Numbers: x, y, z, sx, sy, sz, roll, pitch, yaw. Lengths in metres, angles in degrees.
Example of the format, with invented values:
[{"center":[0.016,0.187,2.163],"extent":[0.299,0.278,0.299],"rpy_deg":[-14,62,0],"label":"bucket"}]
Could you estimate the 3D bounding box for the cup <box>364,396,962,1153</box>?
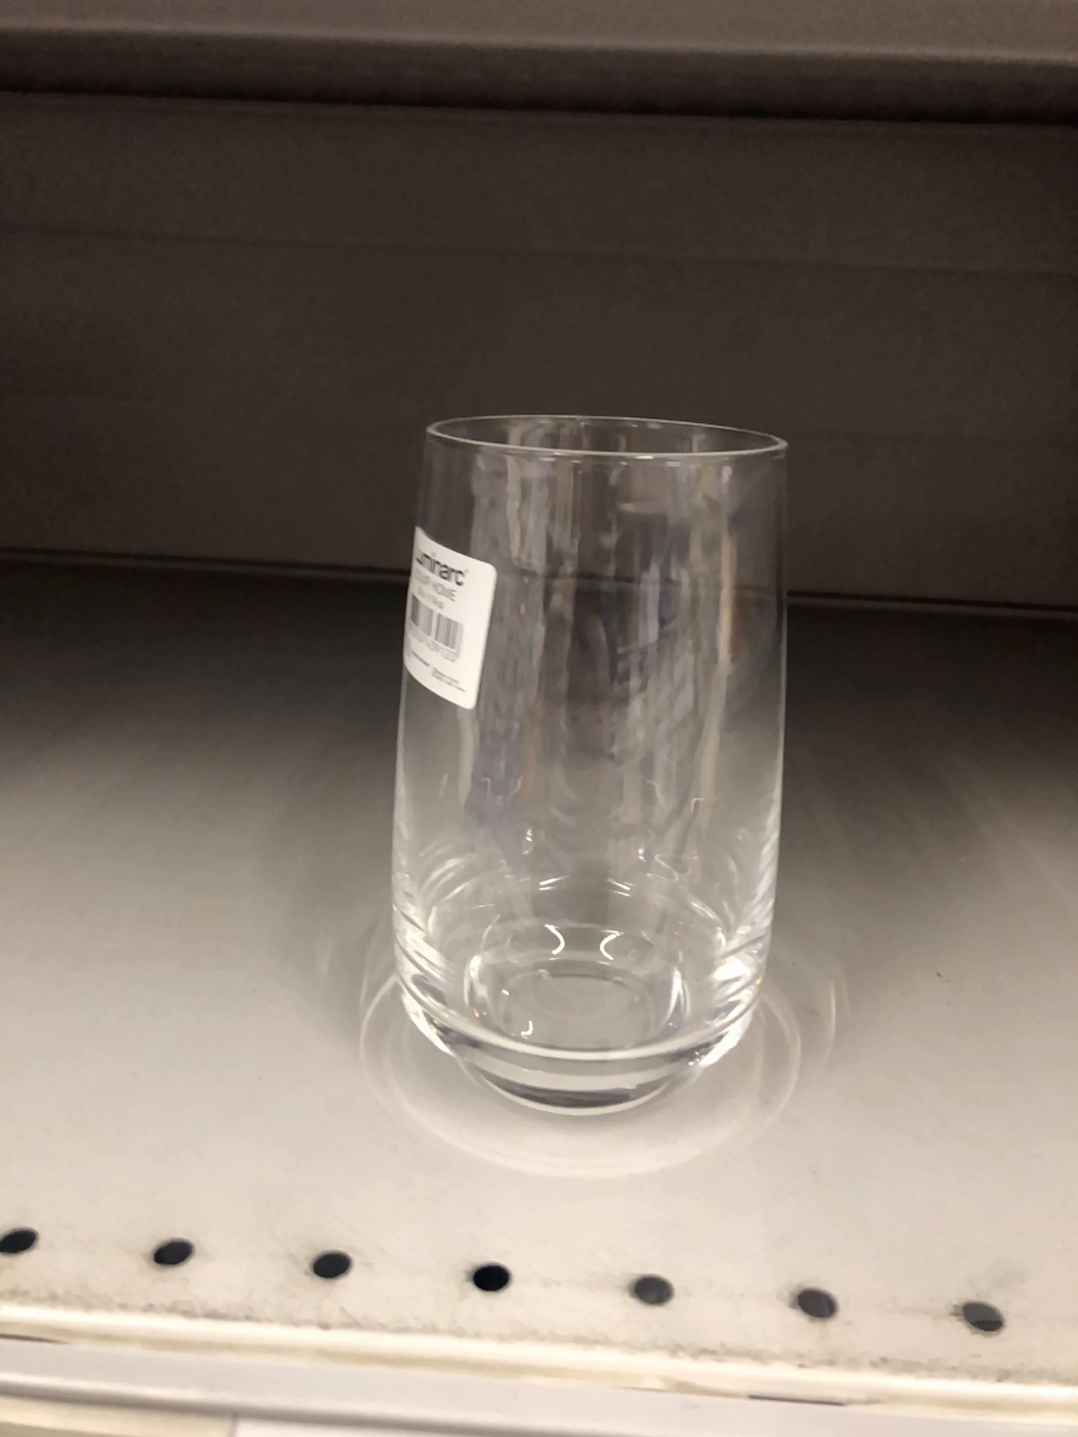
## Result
[{"center":[0.014,0.002,0.222],"extent":[0.076,0.112,0.076],"rpy_deg":[2,18,-1],"label":"cup"}]
